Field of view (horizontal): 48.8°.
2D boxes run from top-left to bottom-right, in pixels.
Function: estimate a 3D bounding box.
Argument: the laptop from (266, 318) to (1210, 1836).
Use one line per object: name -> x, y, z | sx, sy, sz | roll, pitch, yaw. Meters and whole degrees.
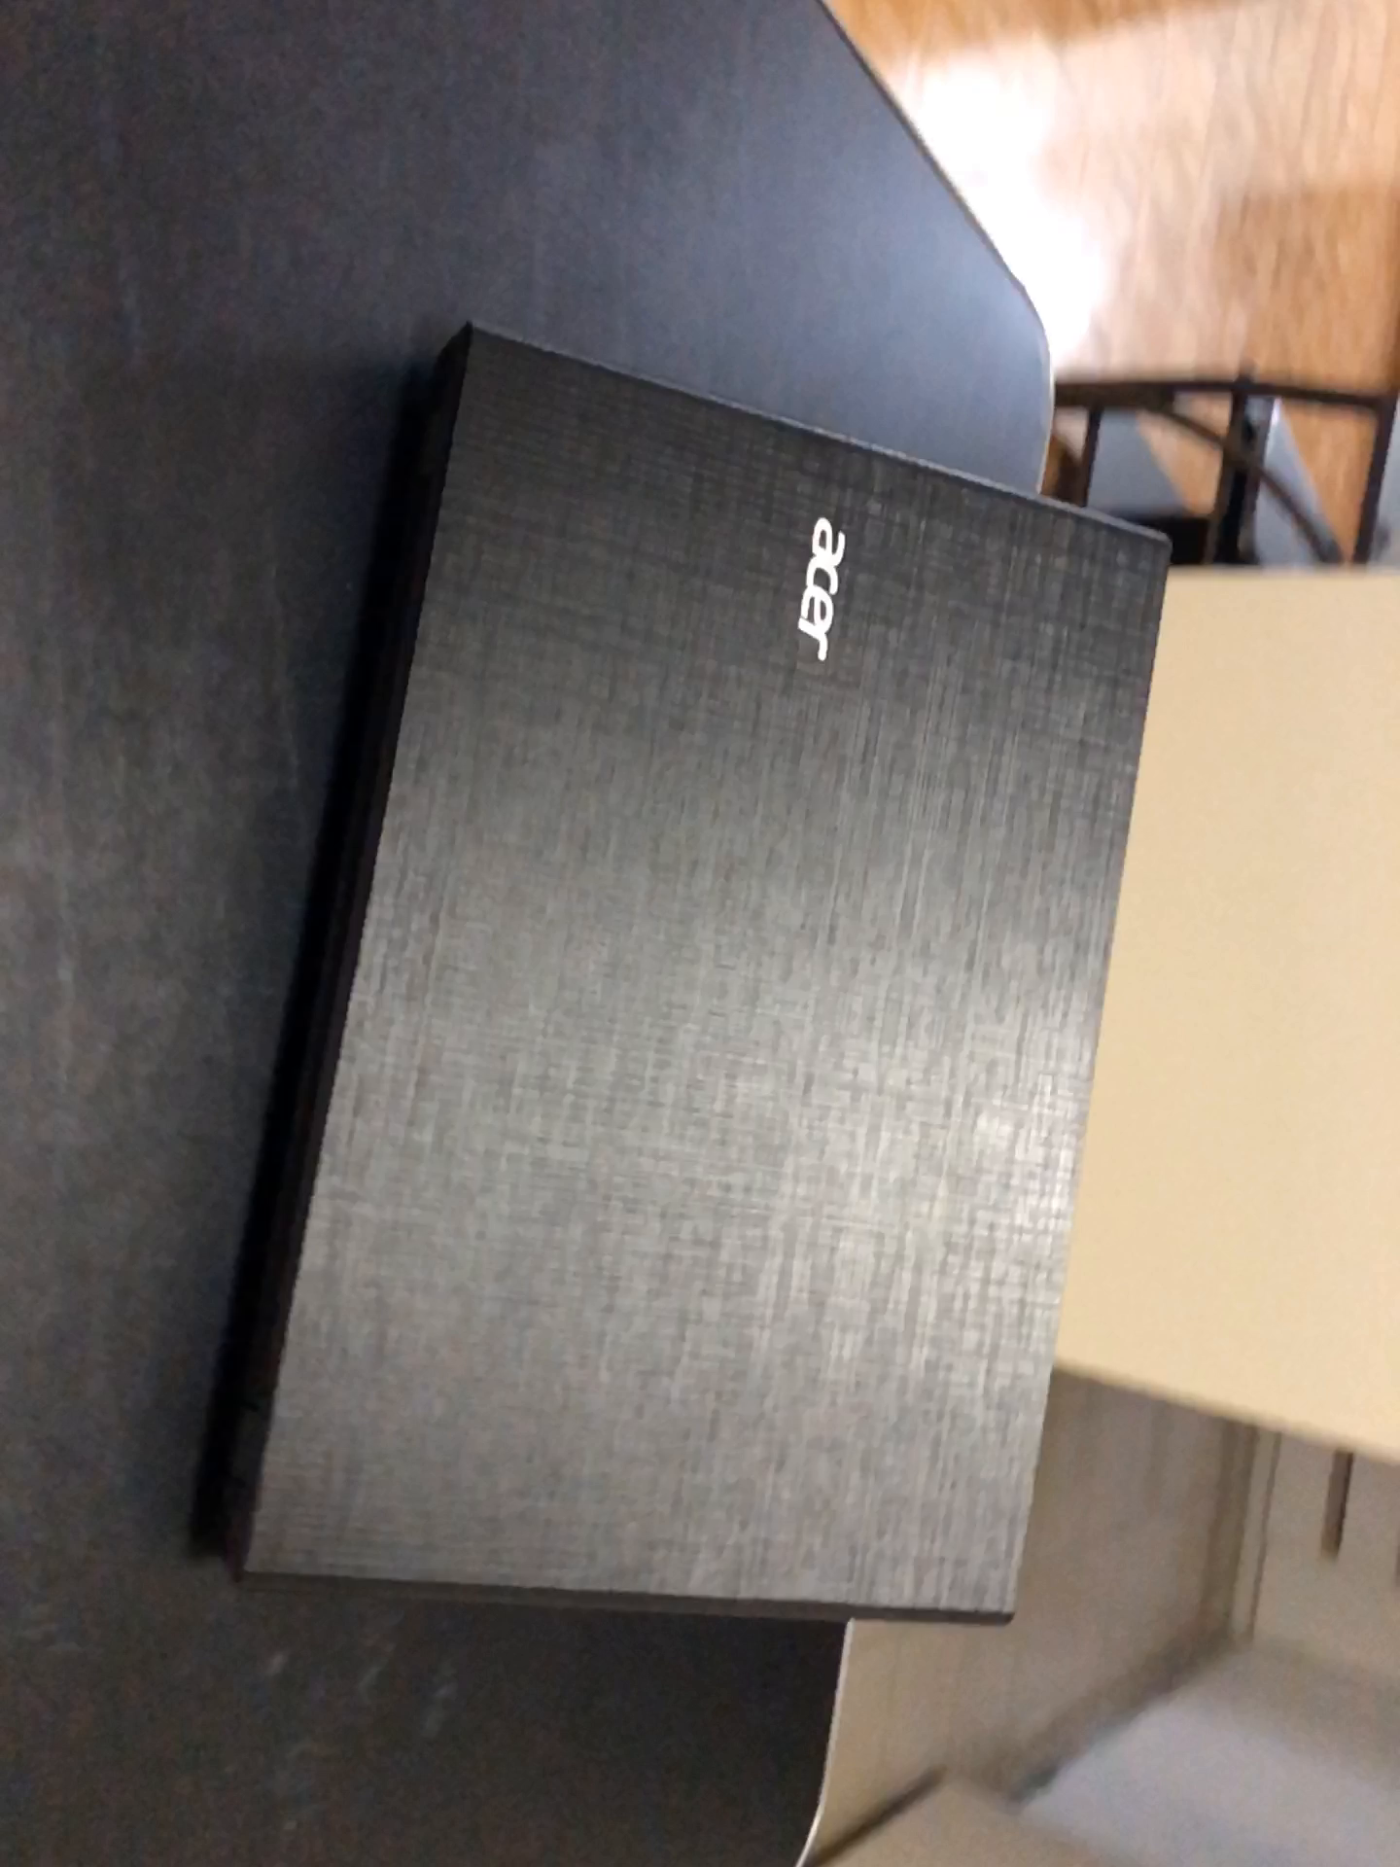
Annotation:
laptop -> 0.036, 0.037, 0.520 | 0.252, 0.155, 0.368 | 16, 83, -57
